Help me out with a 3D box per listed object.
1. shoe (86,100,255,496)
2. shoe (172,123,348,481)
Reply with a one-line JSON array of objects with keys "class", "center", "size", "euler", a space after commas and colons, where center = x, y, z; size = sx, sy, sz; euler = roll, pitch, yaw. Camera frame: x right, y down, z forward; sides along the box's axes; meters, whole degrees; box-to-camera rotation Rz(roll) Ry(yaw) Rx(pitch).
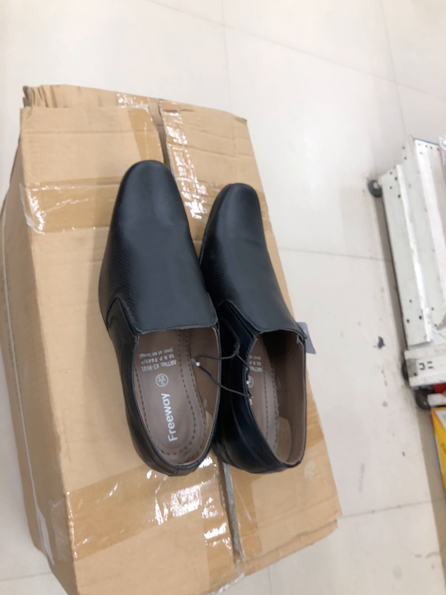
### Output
[{"class": "shoe", "center": [-0.059, -0.003, 0.451], "size": [0.100, 0.100, 0.320], "euler": [-2, 75, -22]}, {"class": "shoe", "center": [0.028, 0.005, 0.497], "size": [0.100, 0.099, 0.320], "euler": [3, 73, -31]}]
